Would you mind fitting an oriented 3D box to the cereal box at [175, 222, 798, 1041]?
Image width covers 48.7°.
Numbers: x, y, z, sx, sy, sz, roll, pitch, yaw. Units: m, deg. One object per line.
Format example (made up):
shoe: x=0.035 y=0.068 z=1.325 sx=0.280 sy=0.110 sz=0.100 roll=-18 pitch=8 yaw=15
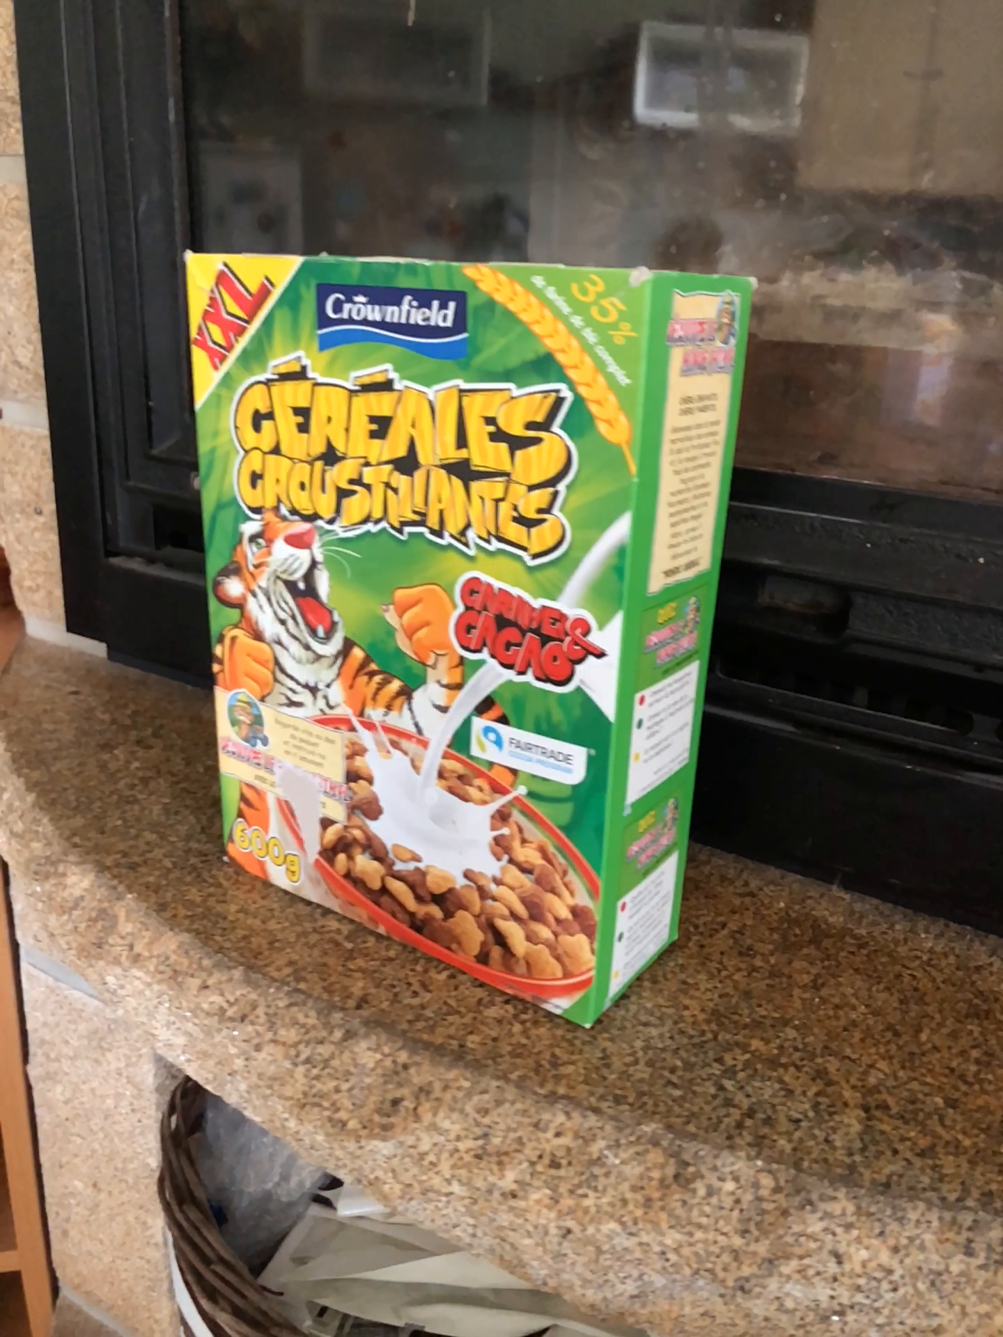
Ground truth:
cereal box: x=-0.015 y=-0.028 z=0.425 sx=0.200 sy=0.259 sz=0.091 roll=15 pitch=22 yaw=31
